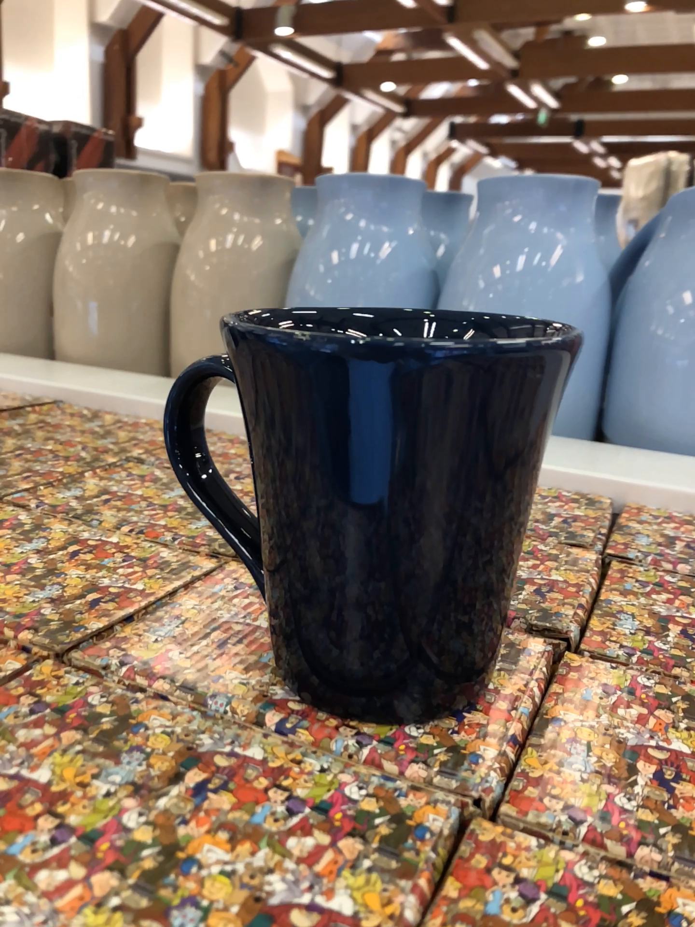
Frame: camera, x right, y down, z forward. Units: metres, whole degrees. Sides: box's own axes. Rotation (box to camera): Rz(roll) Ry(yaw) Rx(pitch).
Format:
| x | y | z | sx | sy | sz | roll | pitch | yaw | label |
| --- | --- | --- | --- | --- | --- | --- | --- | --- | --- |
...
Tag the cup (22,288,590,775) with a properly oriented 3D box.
| x | y | z | sx | sy | sz | roll | pitch | yaw | label |
| --- | --- | --- | --- | --- | --- | --- | --- | --- | --- |
| -0.006 | 0.001 | 0.218 | 0.120 | 0.090 | 0.100 | 10 | 16 | 22 | cup |
